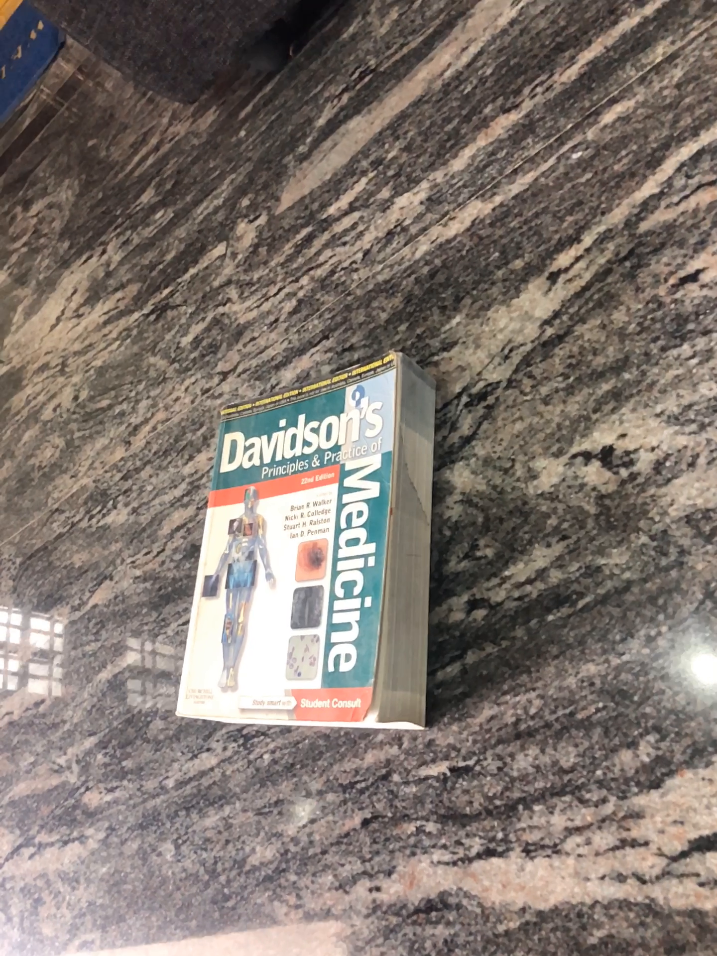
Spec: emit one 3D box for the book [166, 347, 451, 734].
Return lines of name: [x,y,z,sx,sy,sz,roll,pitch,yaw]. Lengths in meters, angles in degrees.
book: [-0.037,0.055,0.607,0.201,0.070,0.260,-12,64,37]
